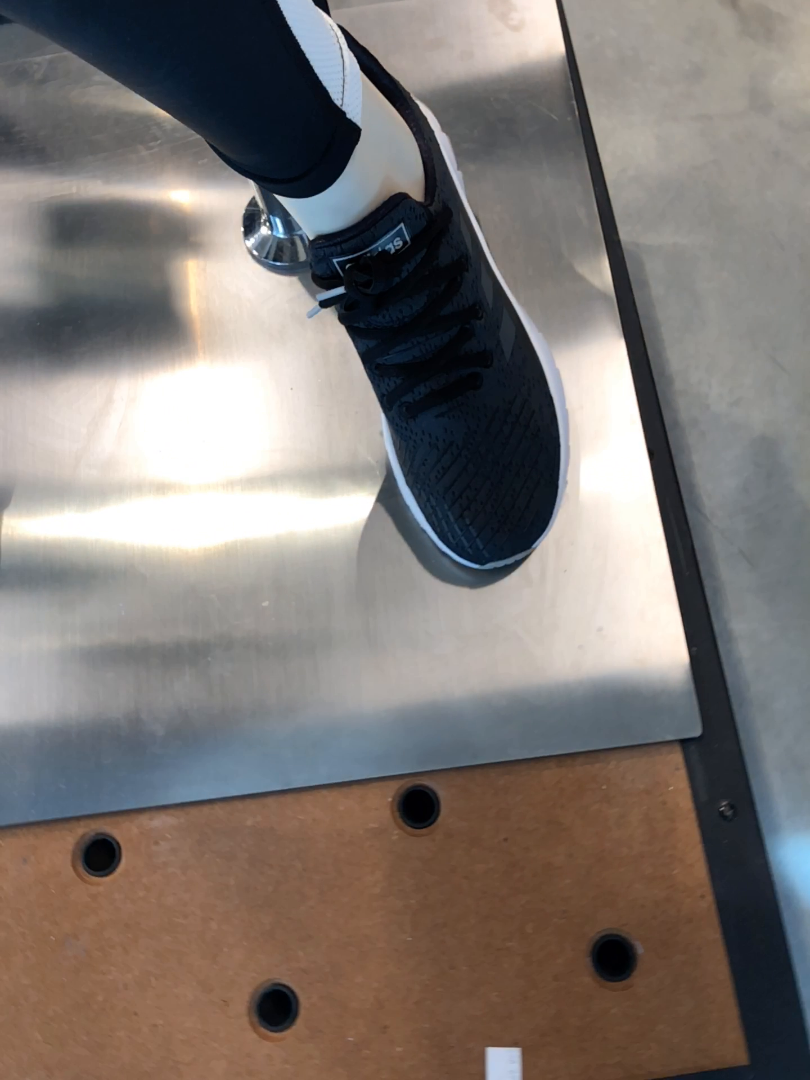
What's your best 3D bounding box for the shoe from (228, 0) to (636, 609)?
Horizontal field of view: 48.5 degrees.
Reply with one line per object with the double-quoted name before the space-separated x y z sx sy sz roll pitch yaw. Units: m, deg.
"shoe" 0.016 -0.119 0.480 0.110 0.100 0.290 -20 82 8
